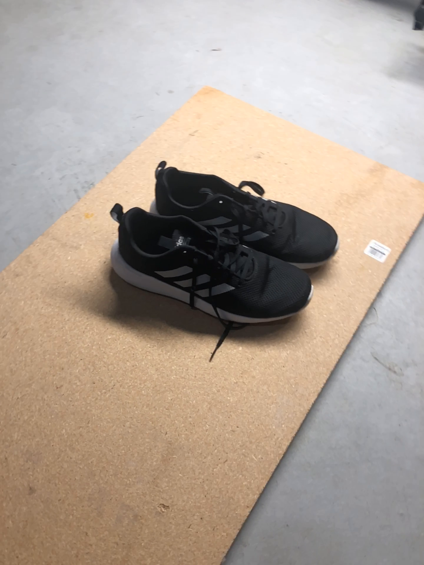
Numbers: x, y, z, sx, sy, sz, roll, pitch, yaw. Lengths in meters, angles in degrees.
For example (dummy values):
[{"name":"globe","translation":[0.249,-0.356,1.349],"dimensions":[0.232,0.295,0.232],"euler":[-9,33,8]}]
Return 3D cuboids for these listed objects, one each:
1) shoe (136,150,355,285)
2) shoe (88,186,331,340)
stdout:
[{"name":"shoe","translation":[0.049,-0.101,0.709],"dimensions":[0.300,0.090,0.110],"euler":[14,53,7]},{"name":"shoe","translation":[-0.003,-0.030,0.649],"dimensions":[0.300,0.090,0.110],"euler":[15,53,8]}]
